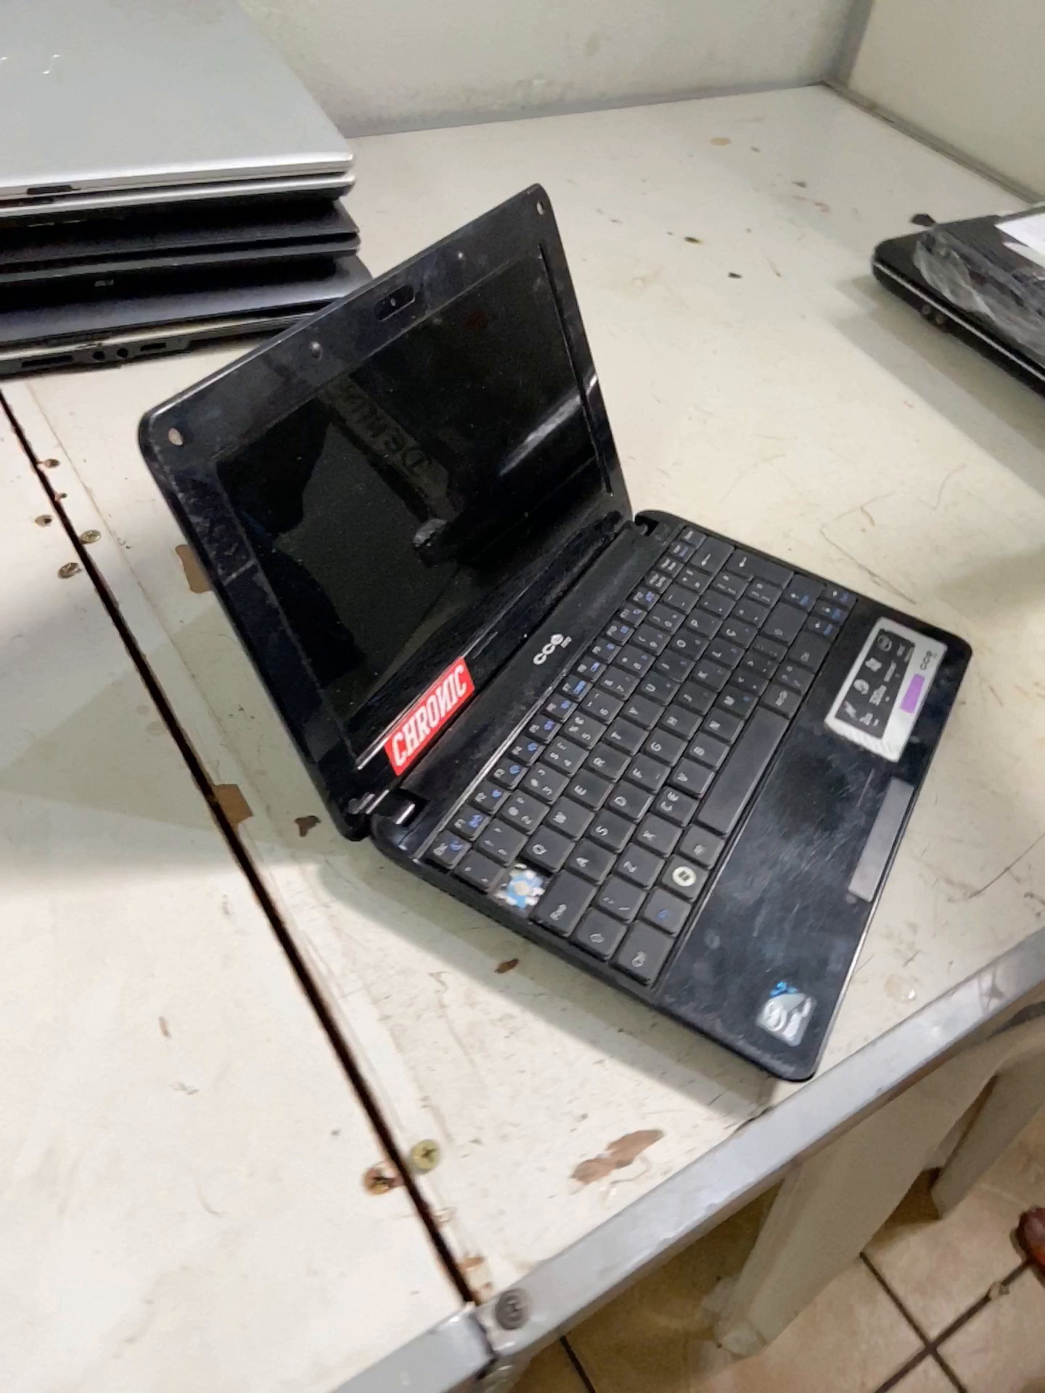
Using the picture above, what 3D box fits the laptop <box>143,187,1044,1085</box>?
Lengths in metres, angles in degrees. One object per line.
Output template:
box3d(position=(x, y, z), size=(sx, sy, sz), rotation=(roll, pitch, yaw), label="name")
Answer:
box3d(position=(0.050, -0.051, 0.419), size=(0.257, 0.137, 0.255), rotation=(27, 48, 15), label="laptop")
